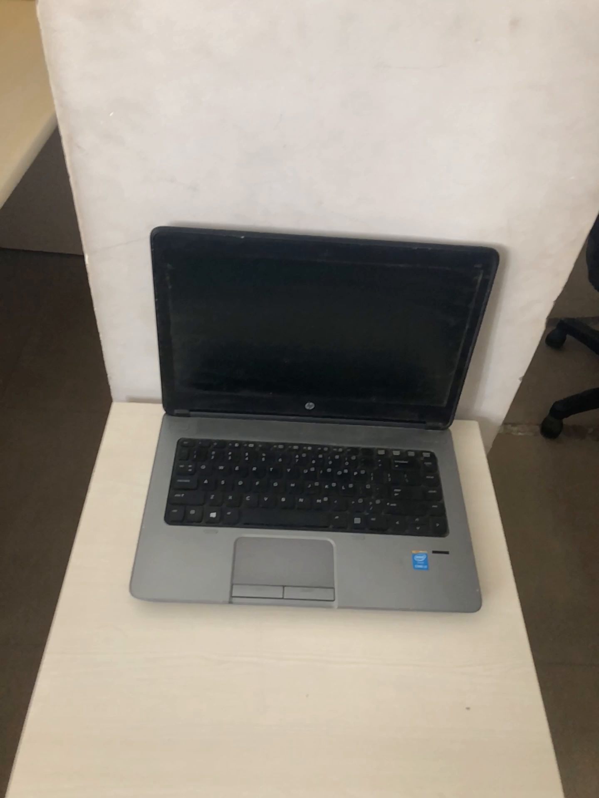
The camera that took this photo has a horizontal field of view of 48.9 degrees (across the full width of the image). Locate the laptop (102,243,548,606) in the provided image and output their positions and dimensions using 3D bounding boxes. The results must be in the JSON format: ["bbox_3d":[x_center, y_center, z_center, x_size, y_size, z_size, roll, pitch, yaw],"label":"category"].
[{"bbox_3d":[0.018,0.025,0.603,0.304,0.209,0.238,4,47,-3],"label":"laptop"}]
